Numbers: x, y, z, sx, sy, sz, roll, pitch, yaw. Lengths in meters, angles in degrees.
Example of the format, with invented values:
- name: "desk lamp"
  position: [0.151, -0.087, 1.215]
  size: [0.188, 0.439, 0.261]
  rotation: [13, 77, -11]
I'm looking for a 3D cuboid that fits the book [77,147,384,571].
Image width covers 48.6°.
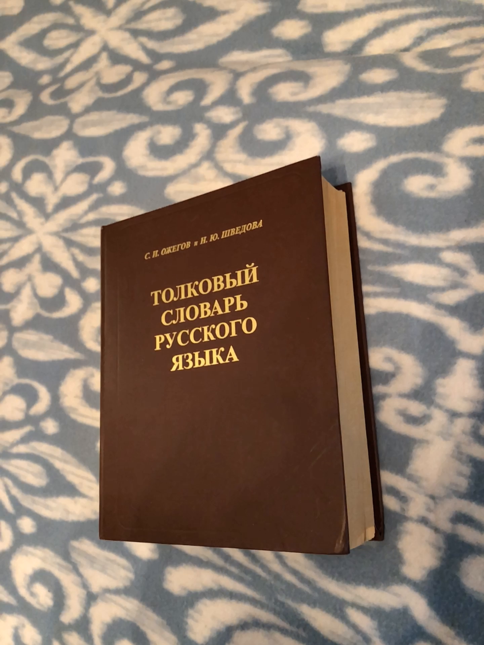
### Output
- name: "book"
  position: [-0.021, 0.033, 0.420]
  size: [0.221, 0.067, 0.270]
  rotation: [-10, 74, 29]
